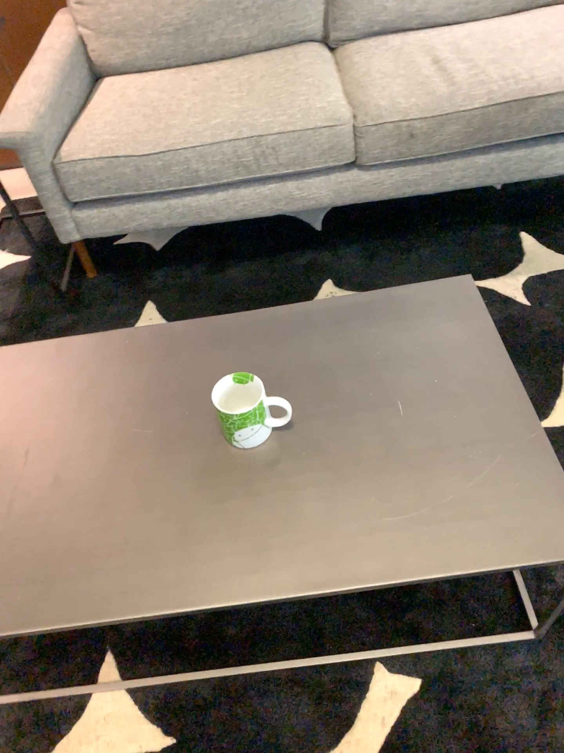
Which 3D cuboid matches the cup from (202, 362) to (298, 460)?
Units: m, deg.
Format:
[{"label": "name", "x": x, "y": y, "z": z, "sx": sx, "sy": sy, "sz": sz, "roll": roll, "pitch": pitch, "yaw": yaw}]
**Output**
[{"label": "cup", "x": -0.049, "y": 0.053, "z": 0.881, "sx": 0.120, "sy": 0.090, "sz": 0.090, "roll": -13, "pitch": 49, "yaw": -2}]
